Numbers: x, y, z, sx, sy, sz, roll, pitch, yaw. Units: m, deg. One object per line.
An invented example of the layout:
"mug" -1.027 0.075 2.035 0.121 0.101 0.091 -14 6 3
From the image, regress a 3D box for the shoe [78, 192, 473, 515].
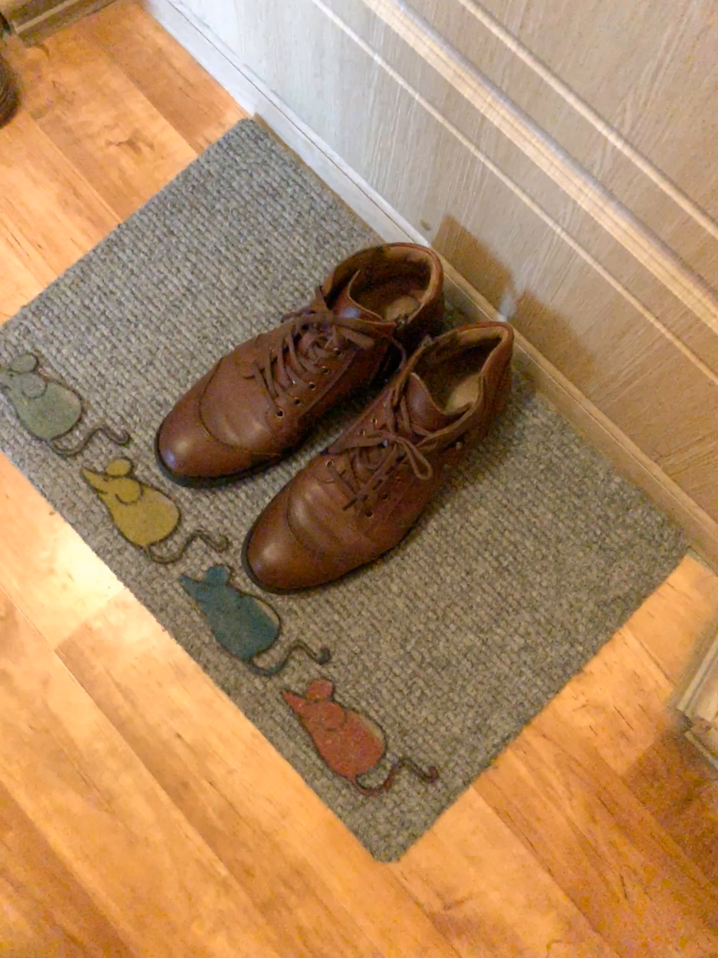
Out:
"shoe" -0.060 -0.091 0.591 0.260 0.140 0.110 -29 82 -7

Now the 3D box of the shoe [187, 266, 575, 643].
"shoe" 0.017 -0.011 0.576 0.270 0.140 0.110 -44 84 -8
